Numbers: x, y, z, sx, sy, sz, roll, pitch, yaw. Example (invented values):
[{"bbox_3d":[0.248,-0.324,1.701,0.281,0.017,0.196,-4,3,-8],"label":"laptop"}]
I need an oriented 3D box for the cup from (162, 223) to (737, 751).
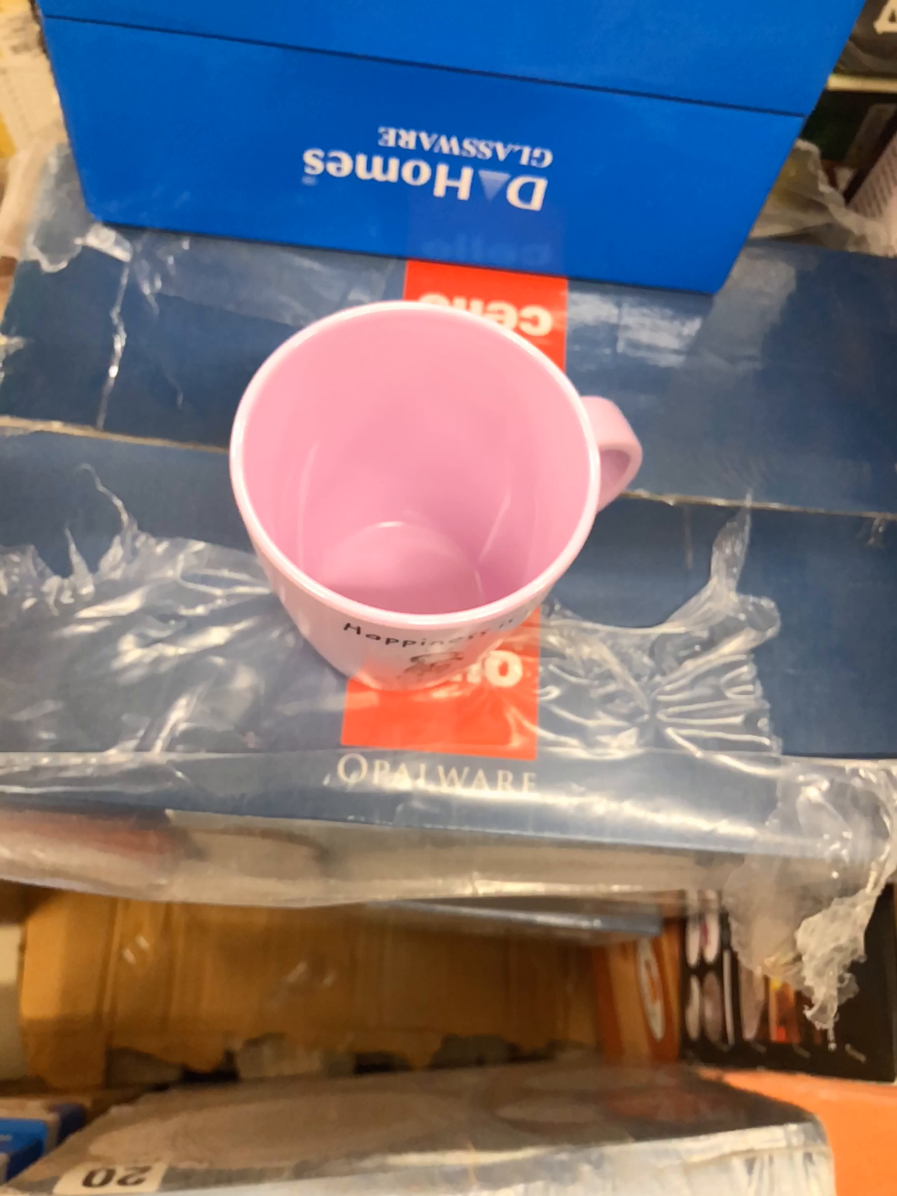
[{"bbox_3d":[-0.005,-0.025,0.269,0.110,0.090,0.090,-13,72,-11],"label":"cup"}]
